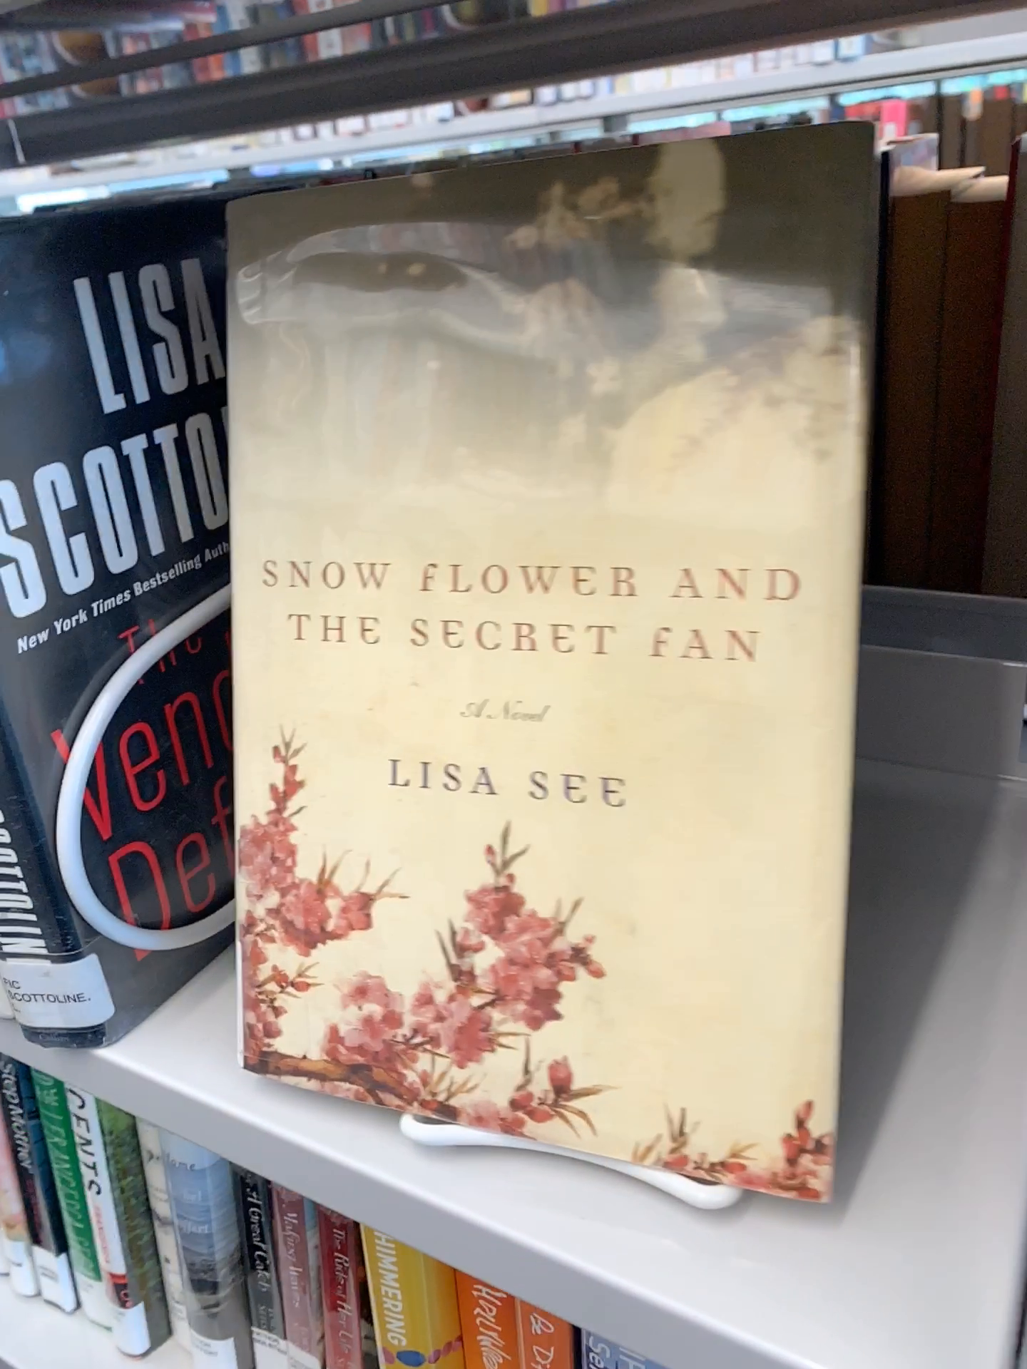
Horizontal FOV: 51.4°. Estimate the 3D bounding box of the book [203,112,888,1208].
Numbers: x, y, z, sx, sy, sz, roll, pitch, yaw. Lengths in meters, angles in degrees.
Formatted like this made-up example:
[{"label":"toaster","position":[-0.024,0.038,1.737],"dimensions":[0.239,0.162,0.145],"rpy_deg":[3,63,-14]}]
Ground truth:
[{"label":"book","position":[0.003,-0.006,0.272],"dimensions":[0.163,0.231,0.041],"rpy_deg":[3,6,21]}]
